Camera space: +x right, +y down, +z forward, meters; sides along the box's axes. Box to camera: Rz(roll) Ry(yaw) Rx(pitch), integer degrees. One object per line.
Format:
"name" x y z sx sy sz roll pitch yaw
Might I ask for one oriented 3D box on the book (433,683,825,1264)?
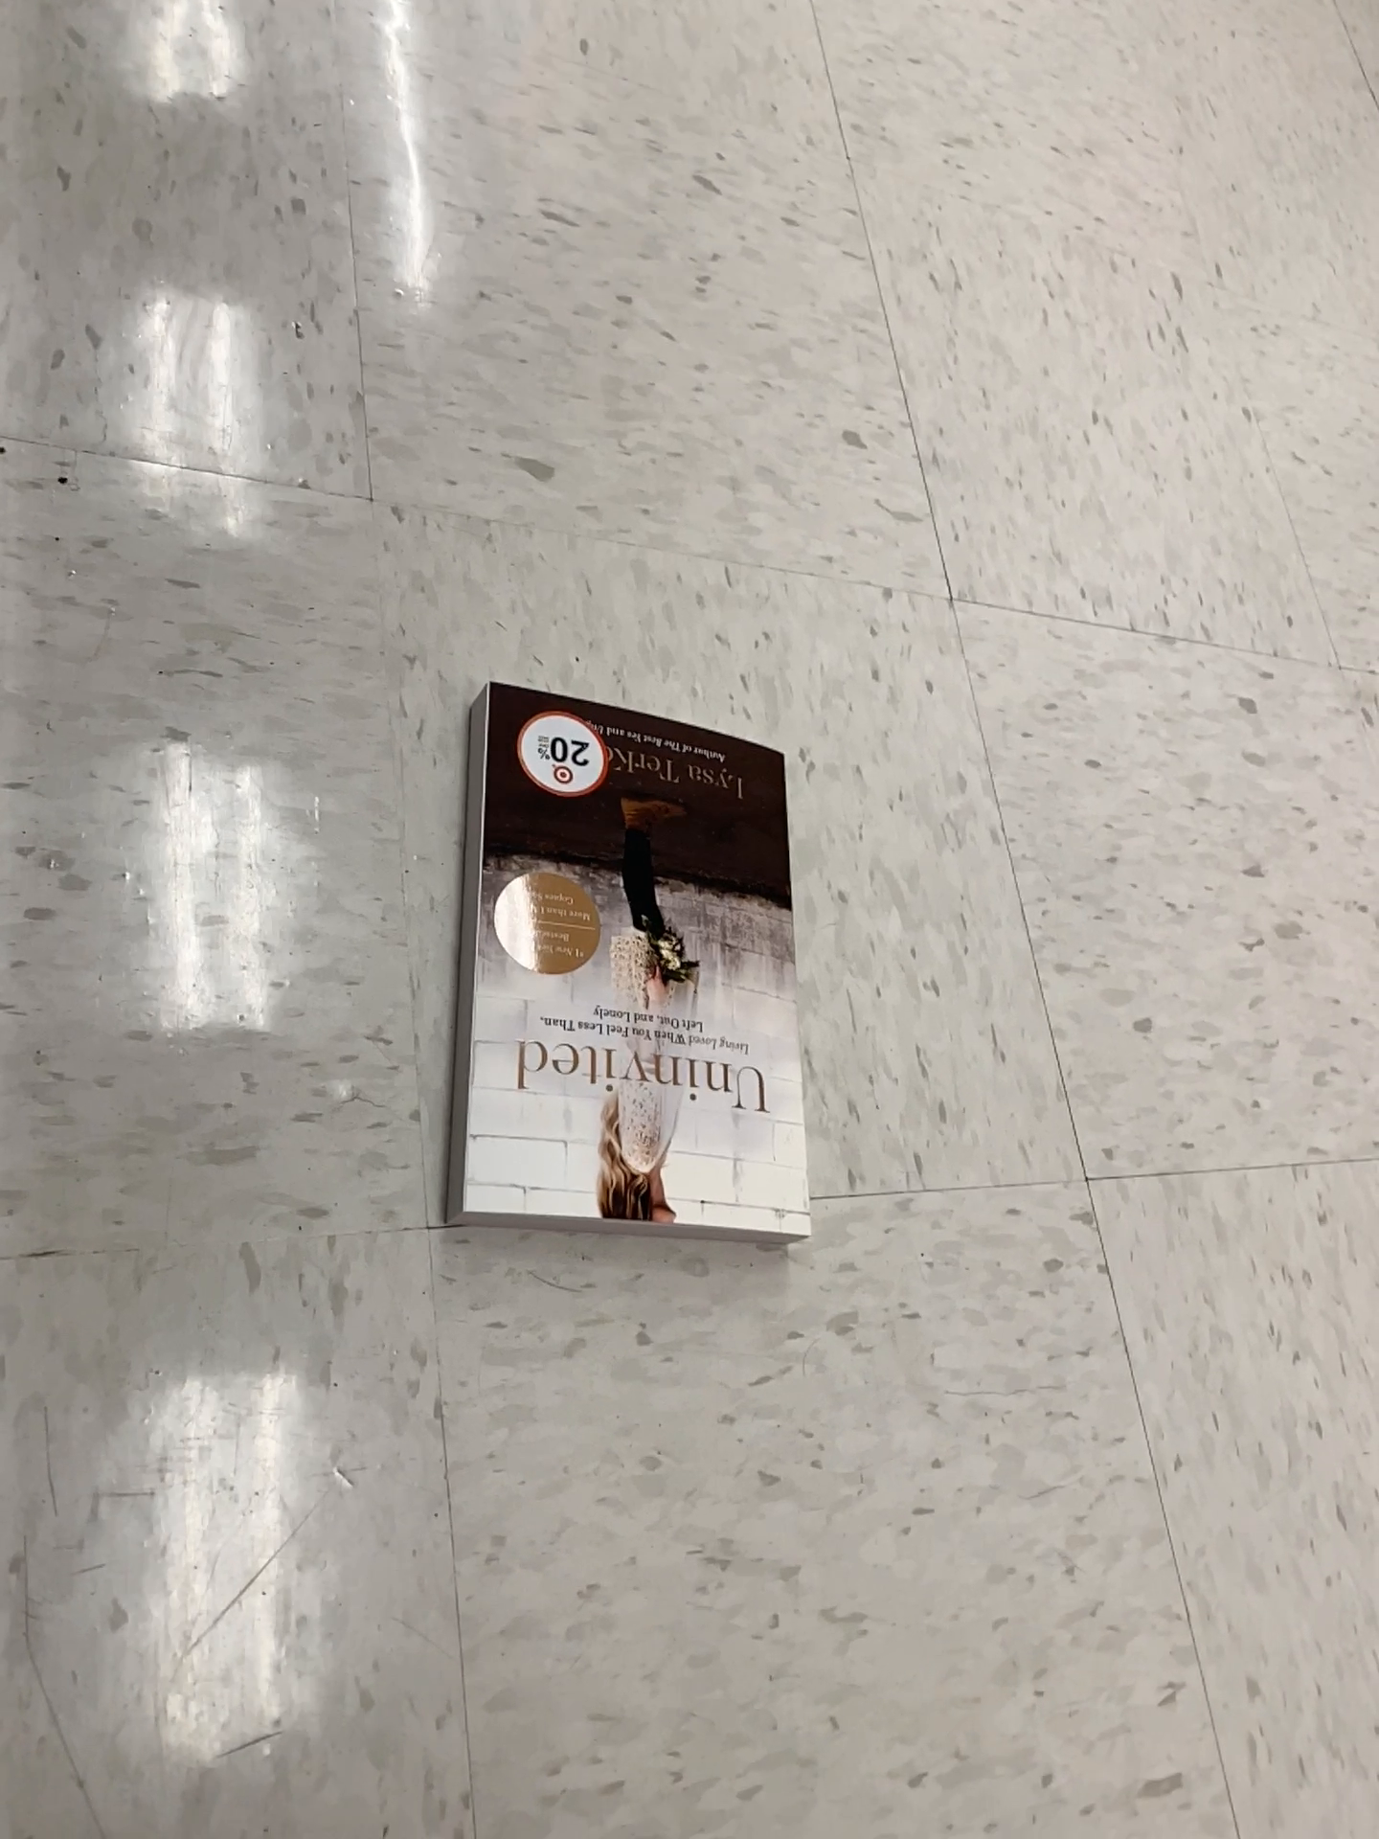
"book" -0.022 0.021 0.545 0.140 0.030 0.210 9 65 -25
